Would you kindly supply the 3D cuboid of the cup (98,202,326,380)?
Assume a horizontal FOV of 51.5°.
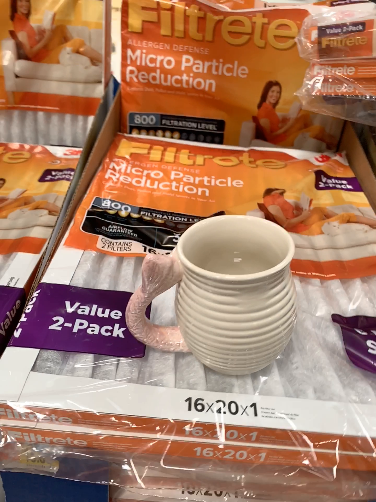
[{"bbox_3d":[0.019,0.026,0.307,0.141,0.089,0.101,2,34,5],"label":"cup"}]
